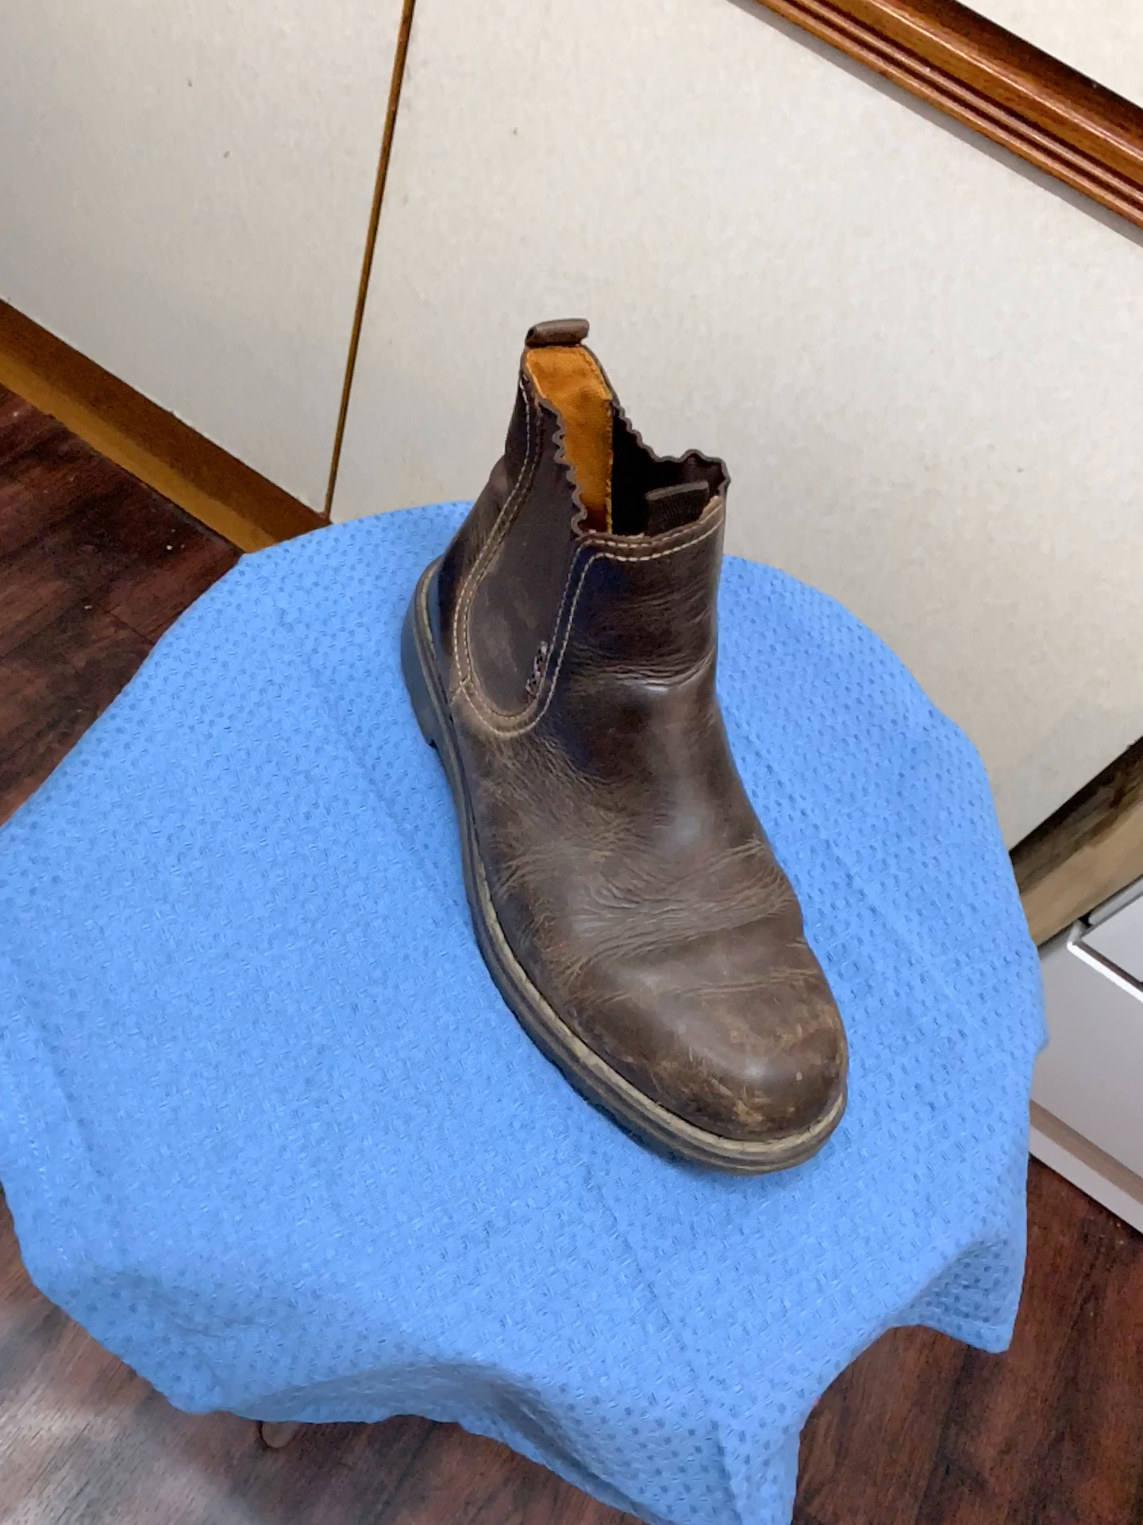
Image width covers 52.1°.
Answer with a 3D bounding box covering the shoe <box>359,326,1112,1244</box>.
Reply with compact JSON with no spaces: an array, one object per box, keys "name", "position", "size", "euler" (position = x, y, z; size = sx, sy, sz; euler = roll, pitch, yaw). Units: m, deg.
[{"name":"shoe","position":[0.028,-0.001,0.425],"size":[0.105,0.156,0.279],"euler":[-12,61,-27]}]
